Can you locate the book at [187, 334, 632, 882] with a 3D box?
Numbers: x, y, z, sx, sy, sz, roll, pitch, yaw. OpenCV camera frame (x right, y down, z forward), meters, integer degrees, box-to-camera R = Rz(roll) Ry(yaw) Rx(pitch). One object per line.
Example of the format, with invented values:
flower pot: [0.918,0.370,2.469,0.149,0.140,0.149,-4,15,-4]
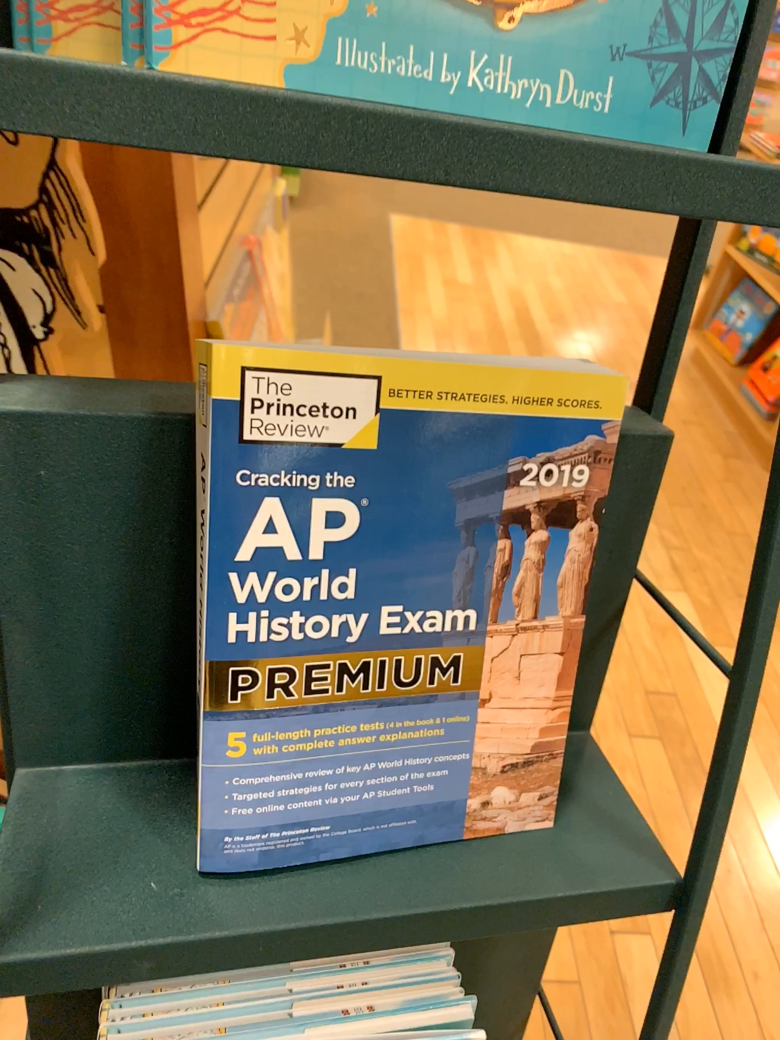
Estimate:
book: [0.004,0.044,0.433,0.214,0.269,0.057,-1,14,-16]
